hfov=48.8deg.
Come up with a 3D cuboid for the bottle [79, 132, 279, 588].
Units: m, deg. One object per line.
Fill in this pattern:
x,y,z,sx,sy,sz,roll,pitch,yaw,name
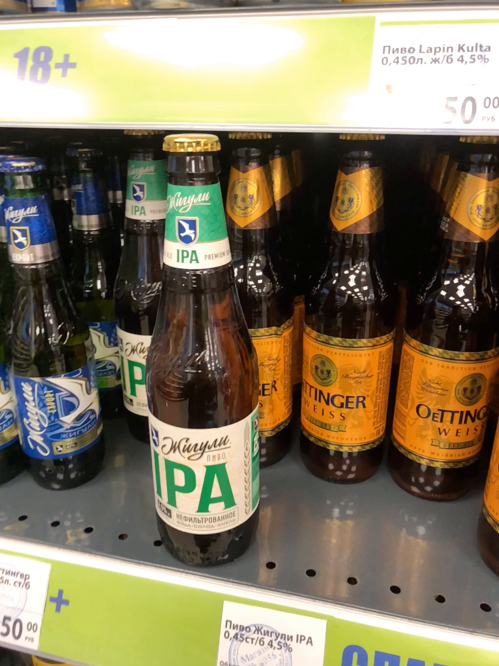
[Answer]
-0.031,0.021,0.327,0.080,0.258,0.070,6,24,13,bottle
